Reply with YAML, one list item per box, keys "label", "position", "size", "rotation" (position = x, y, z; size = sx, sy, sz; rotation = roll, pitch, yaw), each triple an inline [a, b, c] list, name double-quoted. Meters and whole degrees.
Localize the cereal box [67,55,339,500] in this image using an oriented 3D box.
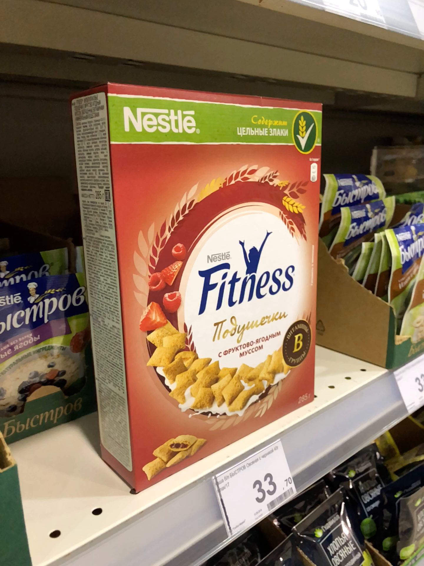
- label: "cereal box"
  position: [0.008, -0.010, 0.321]
  size: [0.181, 0.239, 0.050]
  rotation: [-13, 18, -39]
